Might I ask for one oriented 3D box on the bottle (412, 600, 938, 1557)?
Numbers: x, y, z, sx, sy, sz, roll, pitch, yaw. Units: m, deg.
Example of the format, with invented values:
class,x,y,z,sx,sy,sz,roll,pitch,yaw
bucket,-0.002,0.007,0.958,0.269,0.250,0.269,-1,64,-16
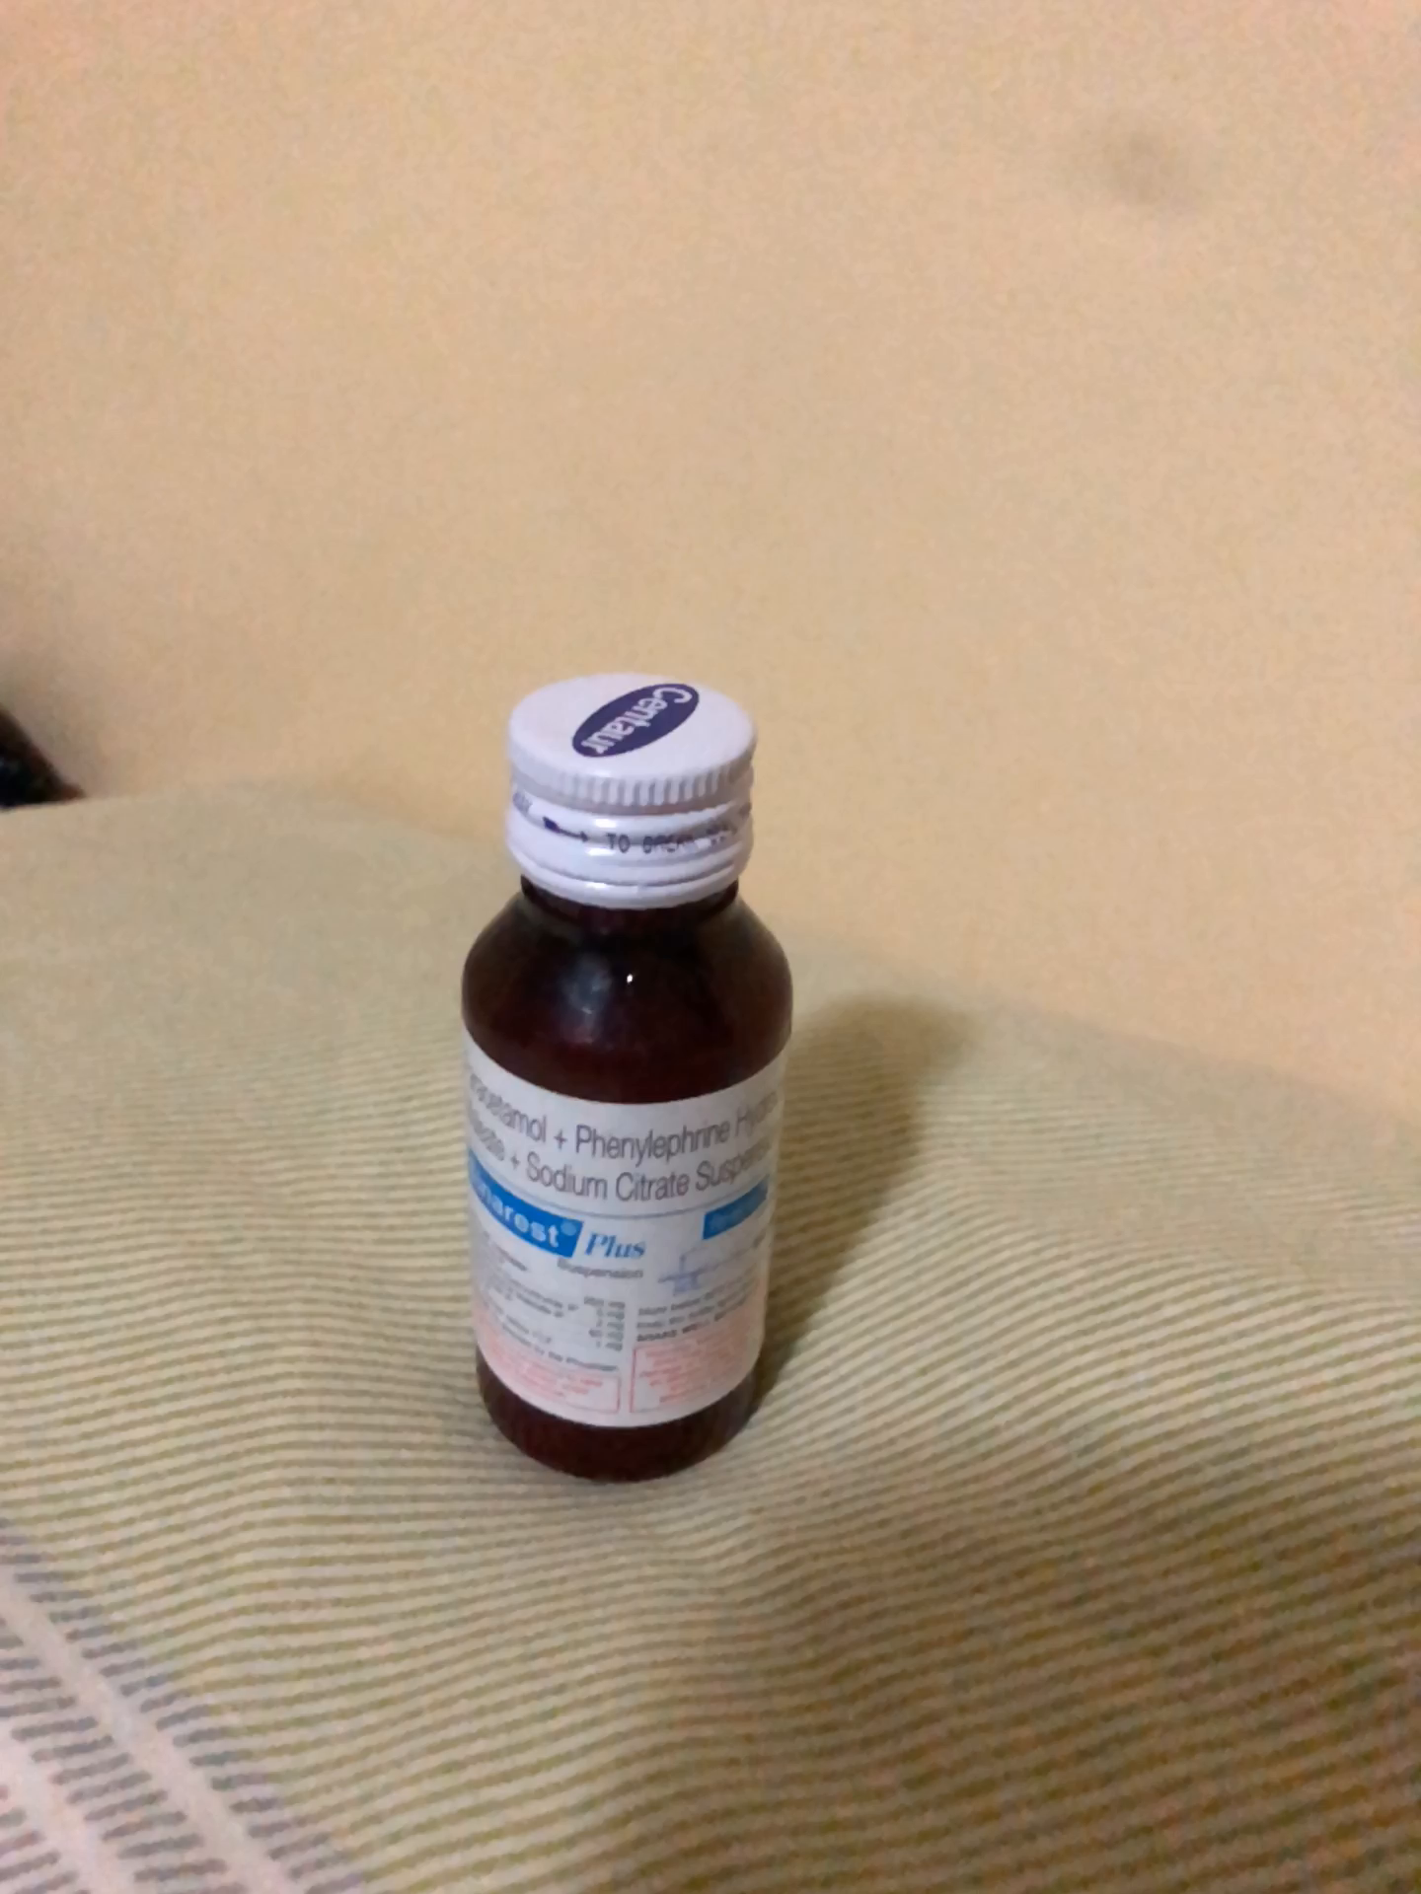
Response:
class,x,y,z,sx,sy,sz,roll,pitch,yaw
bottle,-0.005,0.016,0.190,0.040,0.100,0.040,3,31,-2
